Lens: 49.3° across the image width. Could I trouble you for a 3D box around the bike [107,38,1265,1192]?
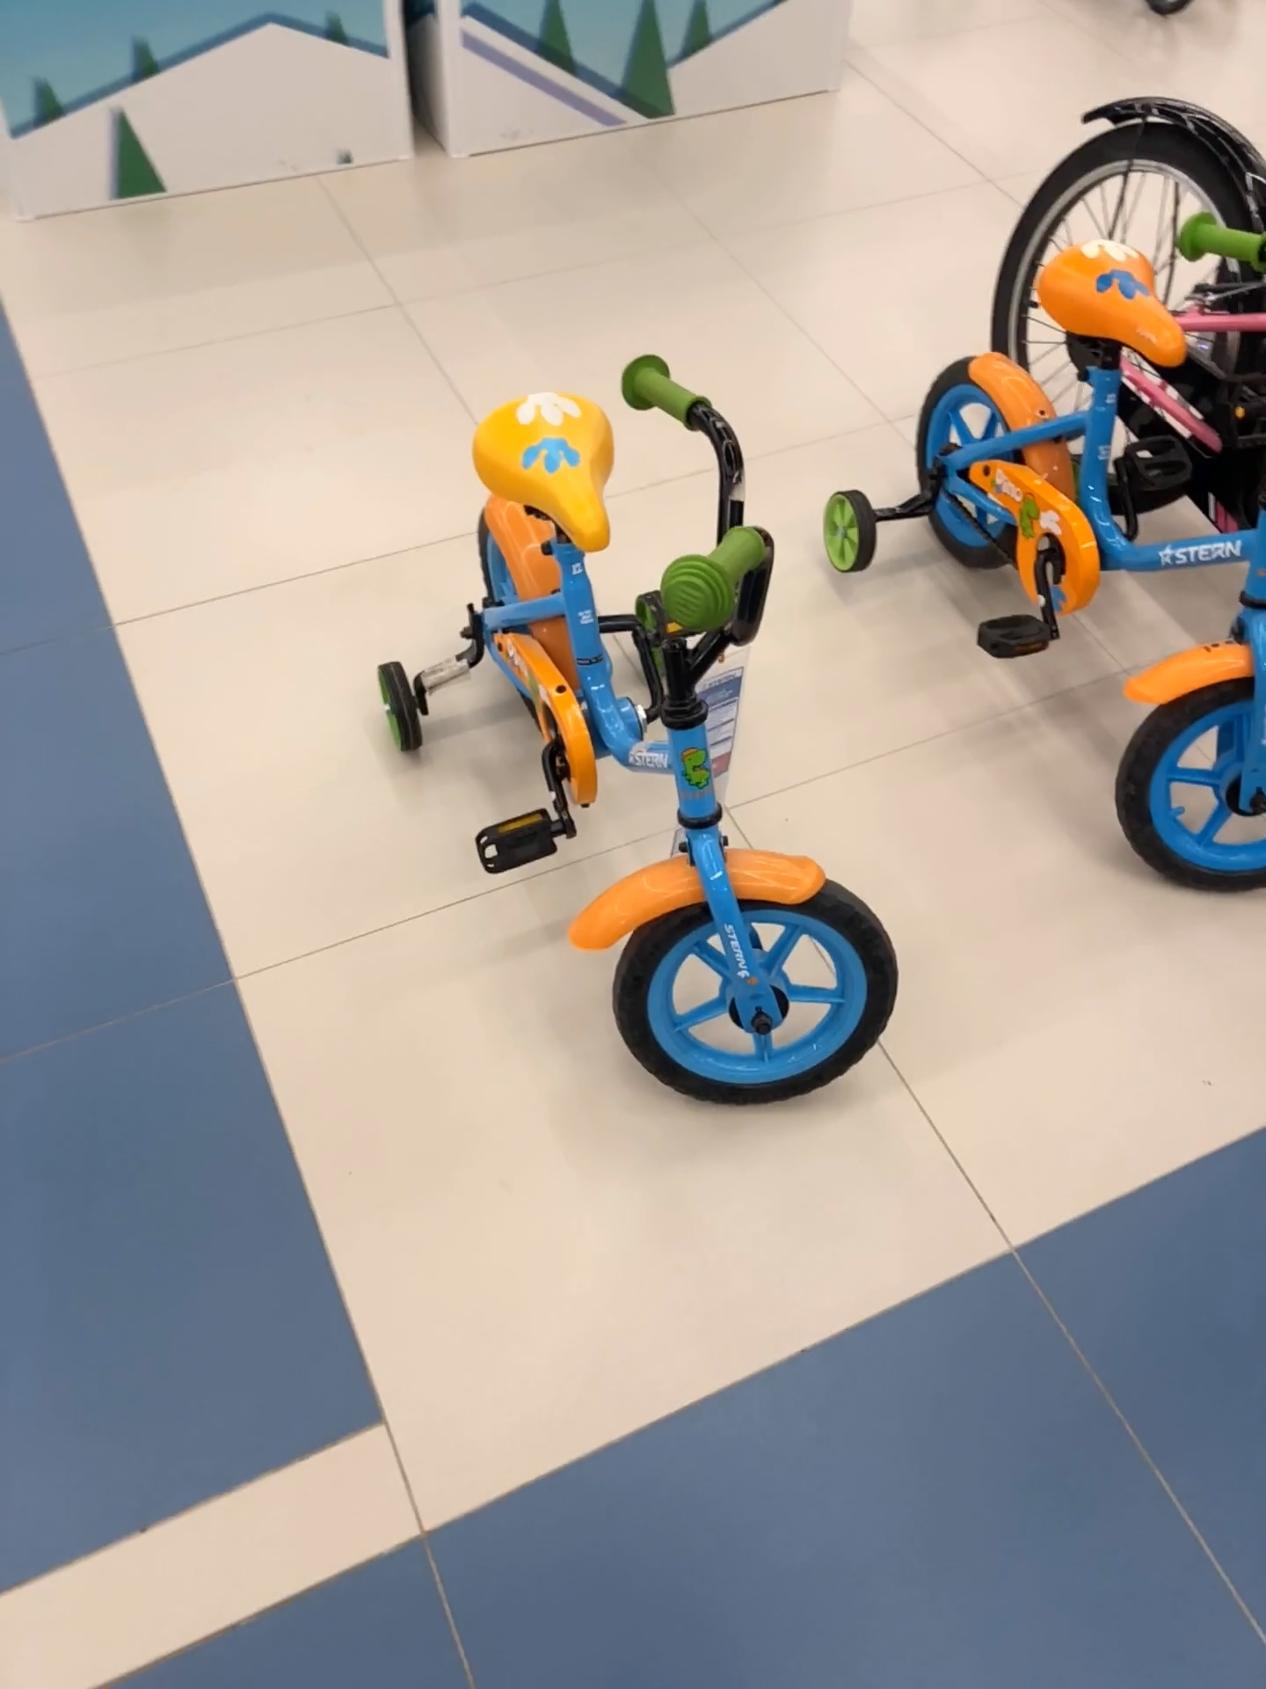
[{"bbox_3d":[0.006,-0.230,1.343,0.565,0.682,0.752,-26,57,-22],"label":"bike"}]
